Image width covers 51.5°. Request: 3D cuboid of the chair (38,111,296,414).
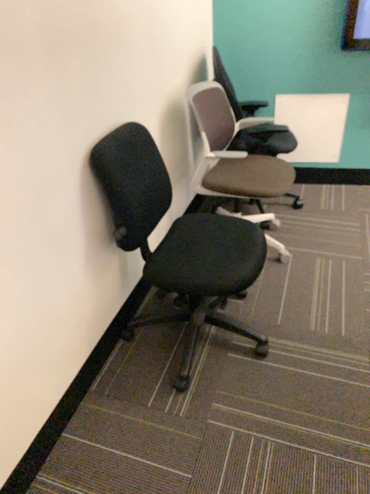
[{"bbox_3d":[0.019,0.032,1.653,0.741,0.994,0.683,8,36,17],"label":"chair"}]
